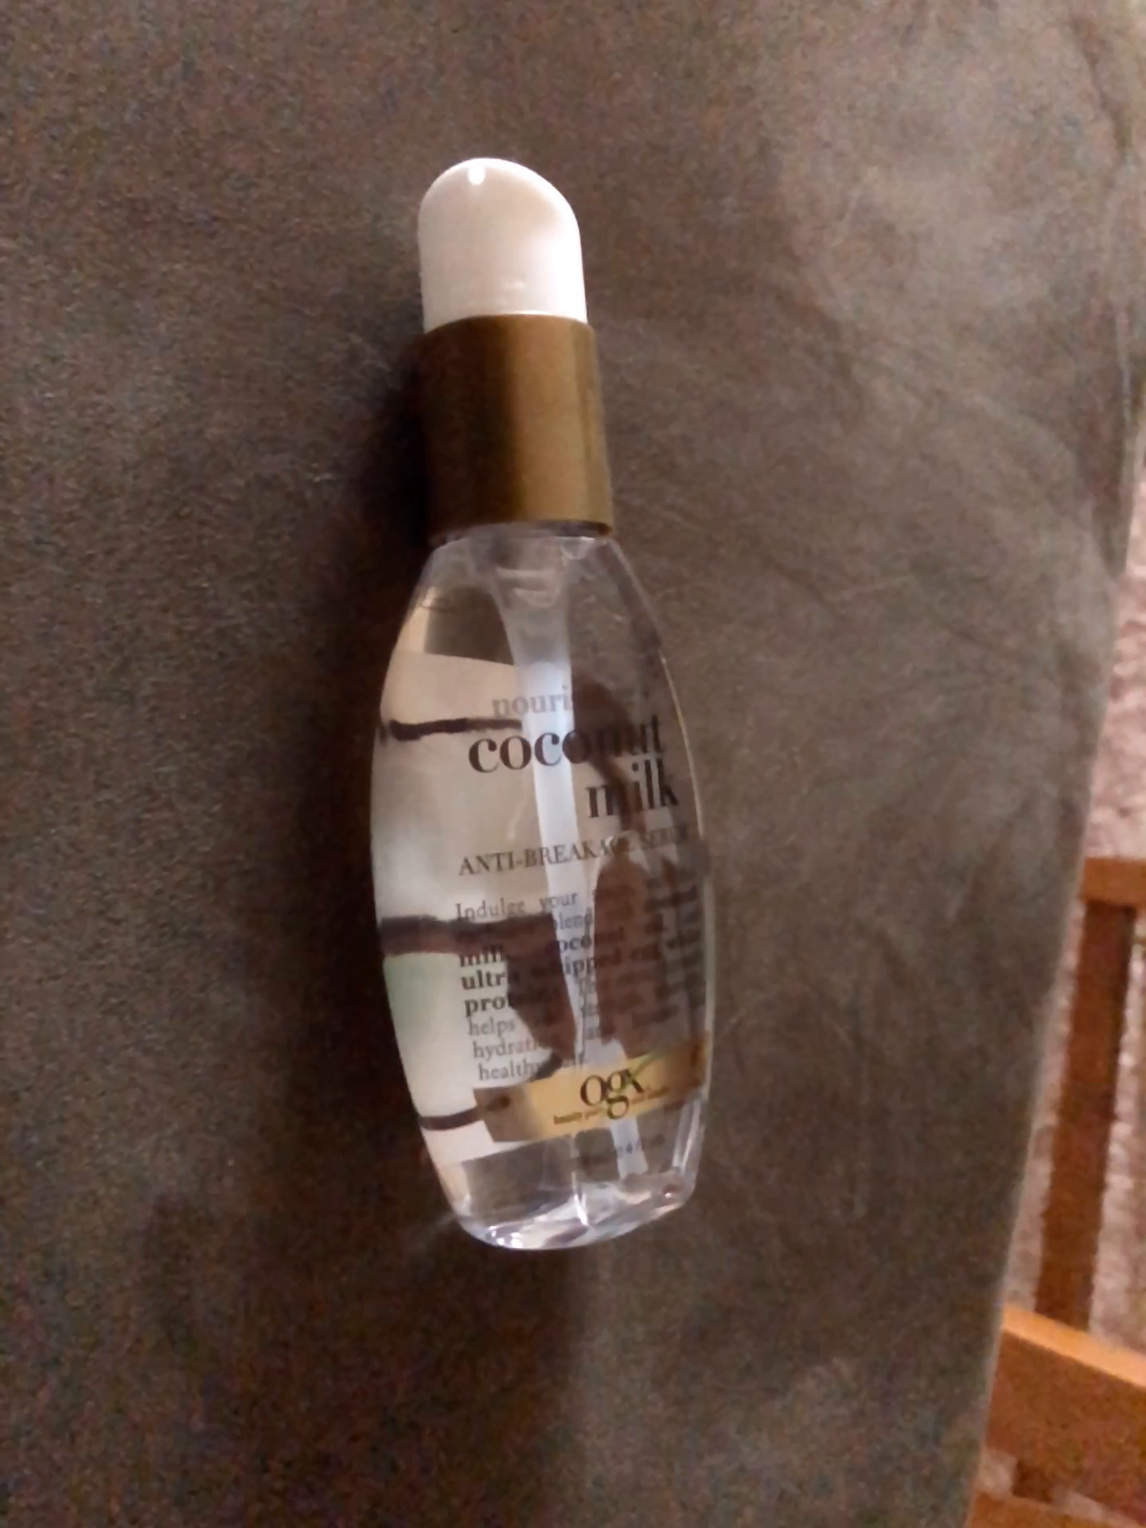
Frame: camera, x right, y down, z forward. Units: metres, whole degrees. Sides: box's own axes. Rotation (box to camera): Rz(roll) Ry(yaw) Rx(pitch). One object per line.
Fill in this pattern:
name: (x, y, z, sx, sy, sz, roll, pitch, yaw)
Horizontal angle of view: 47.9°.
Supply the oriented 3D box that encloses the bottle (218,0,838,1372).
bottle: (-0.004, -0.013, 0.191, 0.070, 0.040, 0.170, -6, 94, -38)
